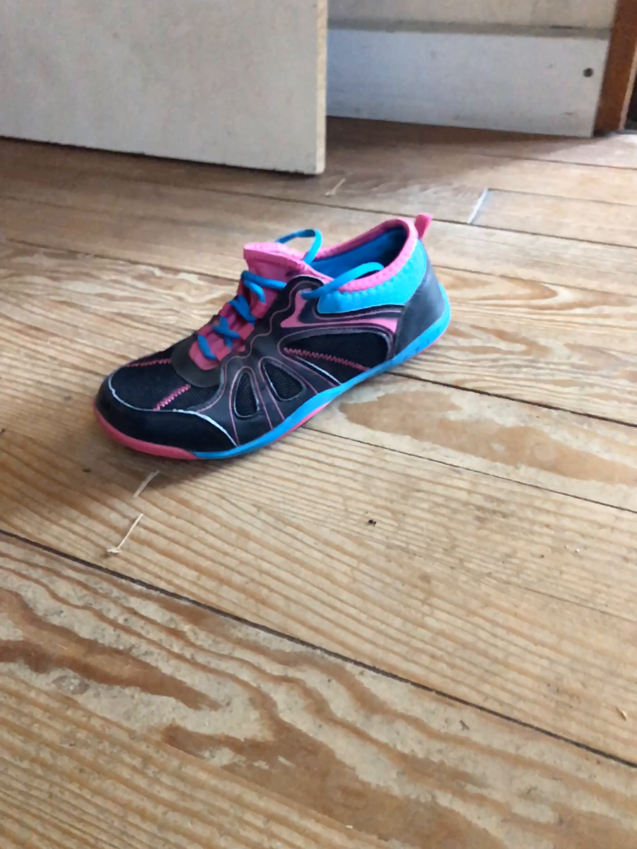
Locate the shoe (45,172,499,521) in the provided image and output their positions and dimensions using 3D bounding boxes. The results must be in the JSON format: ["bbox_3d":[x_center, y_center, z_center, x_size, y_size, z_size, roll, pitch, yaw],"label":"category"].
[{"bbox_3d":[-0.022,-0.062,0.467,0.261,0.099,0.110,-26,49,-19],"label":"shoe"}]
